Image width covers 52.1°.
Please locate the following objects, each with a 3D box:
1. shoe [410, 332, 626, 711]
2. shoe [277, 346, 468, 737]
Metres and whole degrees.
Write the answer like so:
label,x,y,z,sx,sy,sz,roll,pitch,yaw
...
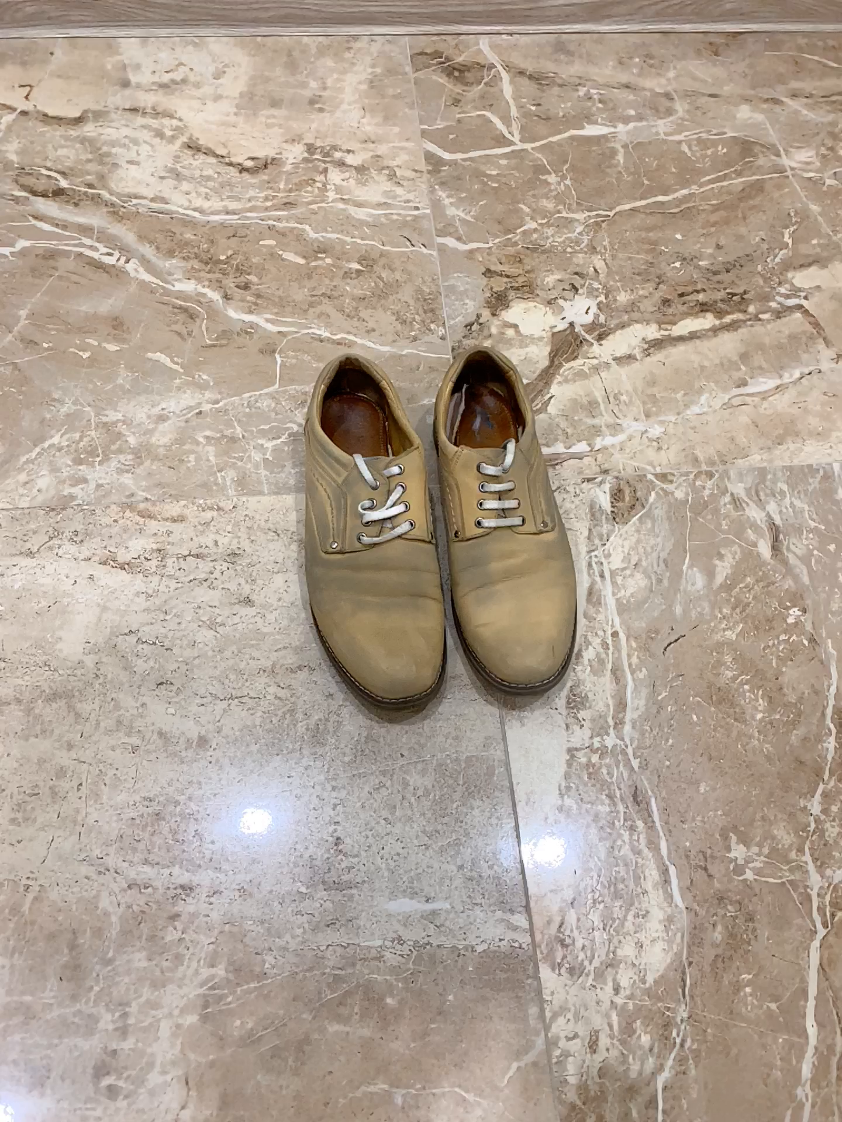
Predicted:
label,x,y,z,sx,sy,sz,roll,pitch,yaw
shoe,0.064,-0.037,0.658,0.110,0.070,0.281,-5,67,-6
shoe,-0.043,-0.020,0.651,0.110,0.080,0.281,-5,67,-6
